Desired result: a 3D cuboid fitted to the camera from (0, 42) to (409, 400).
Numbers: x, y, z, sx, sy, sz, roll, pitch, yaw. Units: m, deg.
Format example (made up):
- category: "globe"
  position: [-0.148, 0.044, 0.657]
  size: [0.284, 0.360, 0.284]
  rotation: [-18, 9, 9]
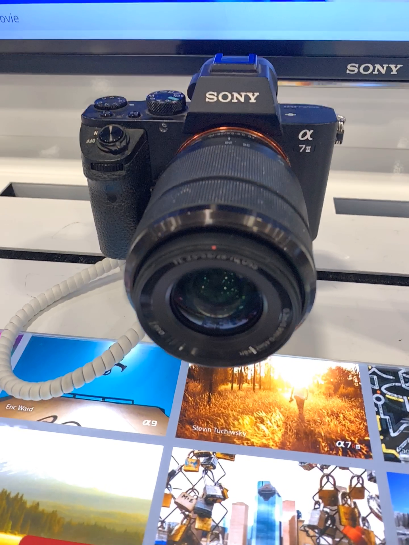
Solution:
- category: "camera"
  position: [-0.003, -0.035, 0.193]
  size: [0.130, 0.090, 0.142]
  rotation: [3, 42, 7]
